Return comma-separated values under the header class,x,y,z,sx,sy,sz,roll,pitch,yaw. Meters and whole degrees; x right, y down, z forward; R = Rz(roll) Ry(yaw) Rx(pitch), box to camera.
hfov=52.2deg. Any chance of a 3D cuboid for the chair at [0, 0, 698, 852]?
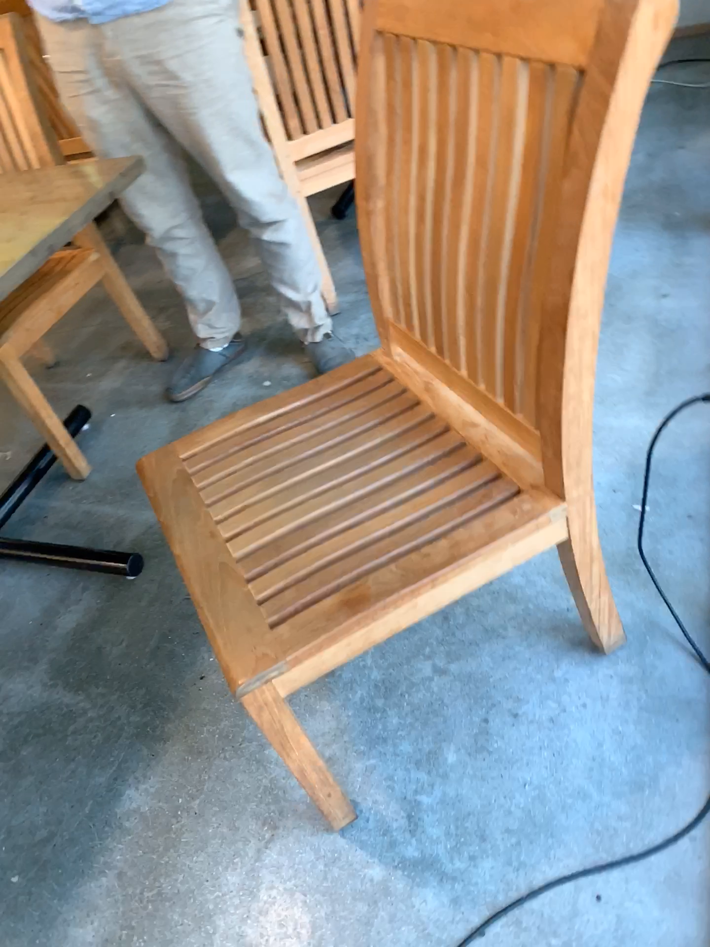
class,x,y,z,sx,sy,sz,roll,pitch,yaw
chair,-0.011,-0.066,0.982,0.610,0.915,0.533,-28,42,-10
